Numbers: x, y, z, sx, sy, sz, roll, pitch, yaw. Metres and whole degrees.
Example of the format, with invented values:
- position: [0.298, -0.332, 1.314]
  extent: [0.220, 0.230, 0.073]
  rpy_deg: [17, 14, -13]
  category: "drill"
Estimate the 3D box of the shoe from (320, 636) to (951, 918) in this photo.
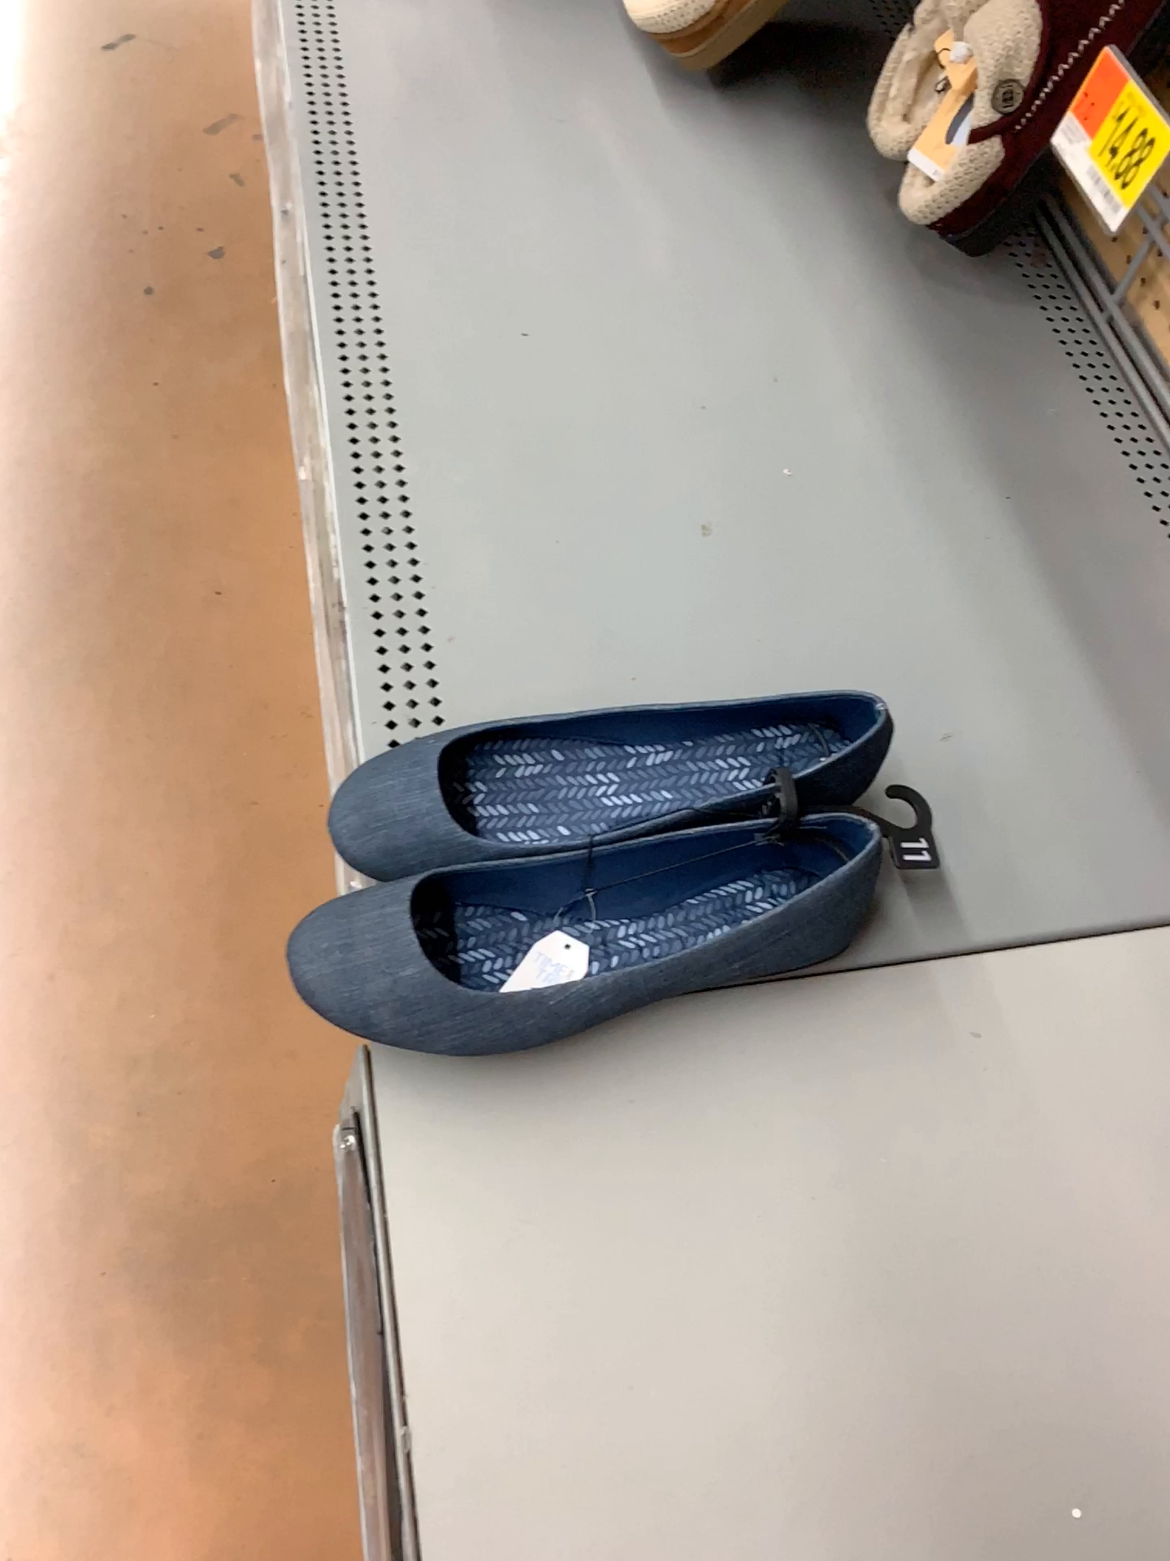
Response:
- position: [0.018, -0.003, 0.583]
  extent: [0.280, 0.090, 0.090]
  rpy_deg: [-2, 55, -9]
  category: "shoe"

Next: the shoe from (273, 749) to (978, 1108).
- position: [0.013, 0.063, 0.528]
  extent: [0.280, 0.090, 0.090]
  rpy_deg: [-6, 53, -11]
  category: "shoe"
